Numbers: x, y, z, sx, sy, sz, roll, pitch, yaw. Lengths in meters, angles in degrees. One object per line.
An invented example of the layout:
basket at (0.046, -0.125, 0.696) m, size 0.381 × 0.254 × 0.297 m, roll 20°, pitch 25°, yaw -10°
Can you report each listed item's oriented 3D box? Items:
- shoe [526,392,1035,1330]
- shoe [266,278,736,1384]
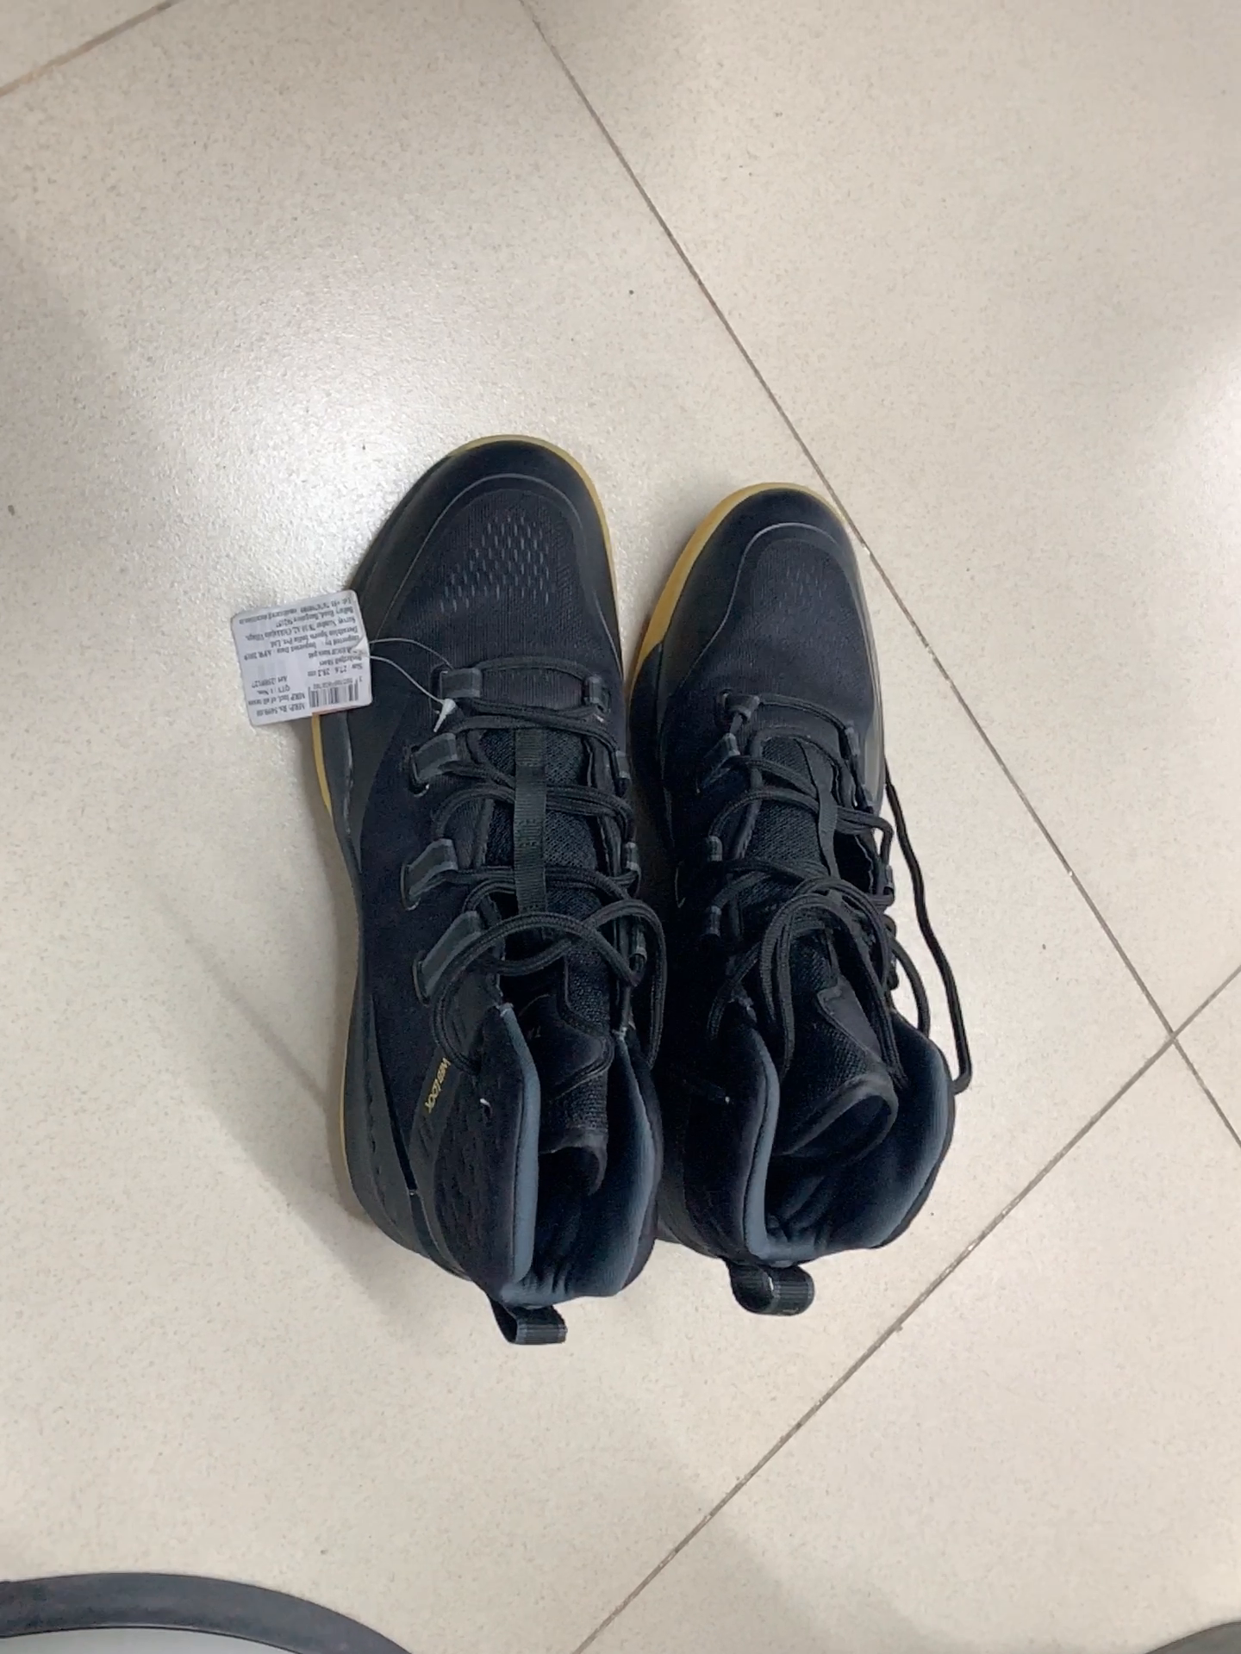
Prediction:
shoe at (0.053, 0.015, 0.452) m, size 0.110 × 0.090 × 0.290 m, roll 9°, pitch 88°, yaw -19°
shoe at (-0.048, 0.003, 0.417) m, size 0.110 × 0.140 × 0.290 m, roll 3°, pitch 90°, yaw -19°
